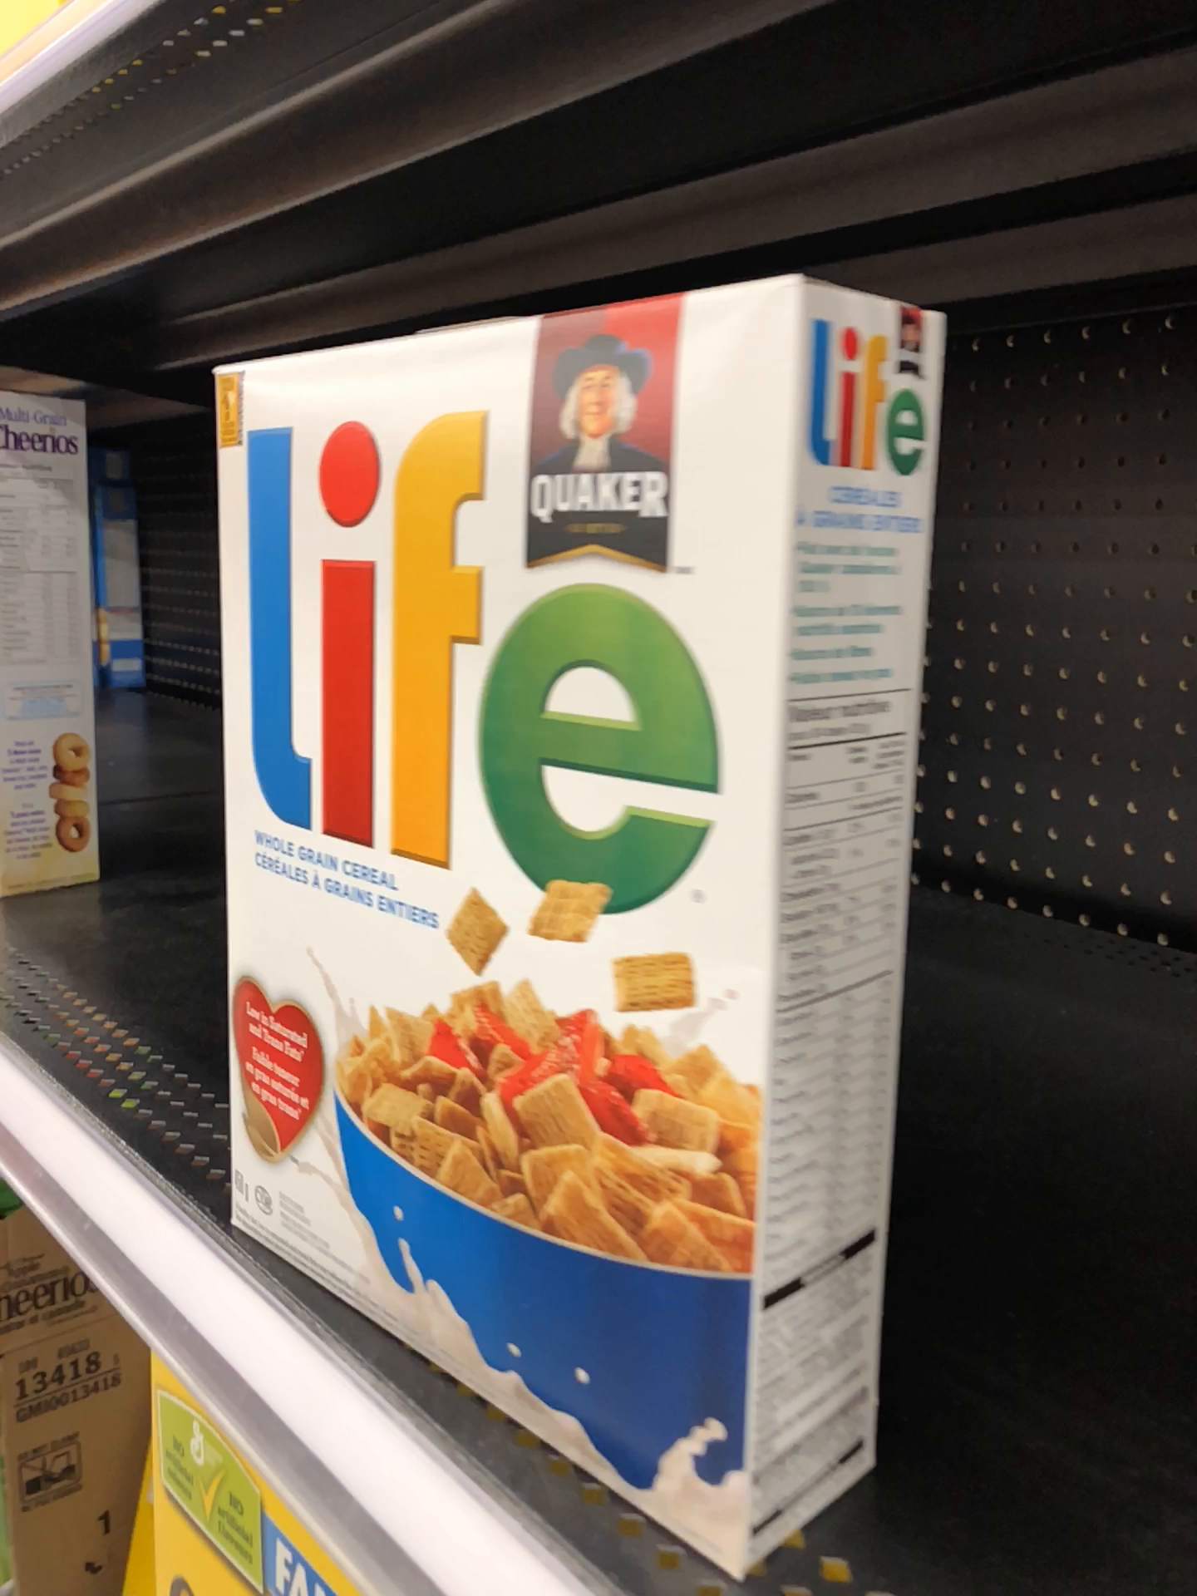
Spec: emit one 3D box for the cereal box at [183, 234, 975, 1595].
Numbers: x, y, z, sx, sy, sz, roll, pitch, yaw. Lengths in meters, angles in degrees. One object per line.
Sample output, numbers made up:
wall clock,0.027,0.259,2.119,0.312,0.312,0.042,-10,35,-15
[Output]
cereal box,-0.020,0.017,0.329,0.200,0.259,0.060,11,14,44
